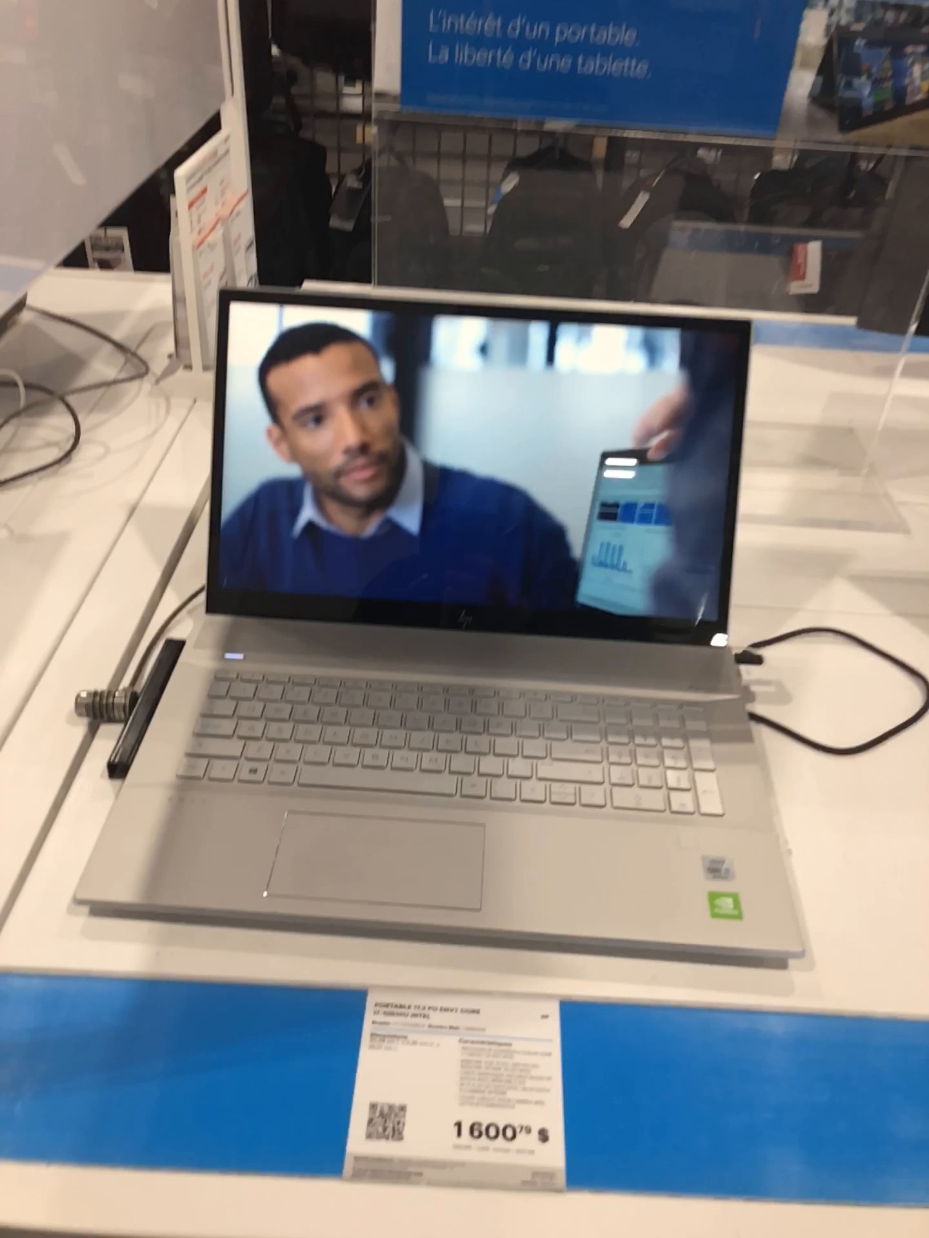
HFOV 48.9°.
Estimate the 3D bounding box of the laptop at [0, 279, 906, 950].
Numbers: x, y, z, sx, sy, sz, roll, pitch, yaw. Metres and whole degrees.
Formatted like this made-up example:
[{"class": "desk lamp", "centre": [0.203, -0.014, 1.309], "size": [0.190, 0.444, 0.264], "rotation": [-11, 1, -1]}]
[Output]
[{"class": "laptop", "centre": [-0.002, -0.037, 0.653], "size": [0.390, 0.199, 0.399], "rotation": [4, 37, 0]}]
